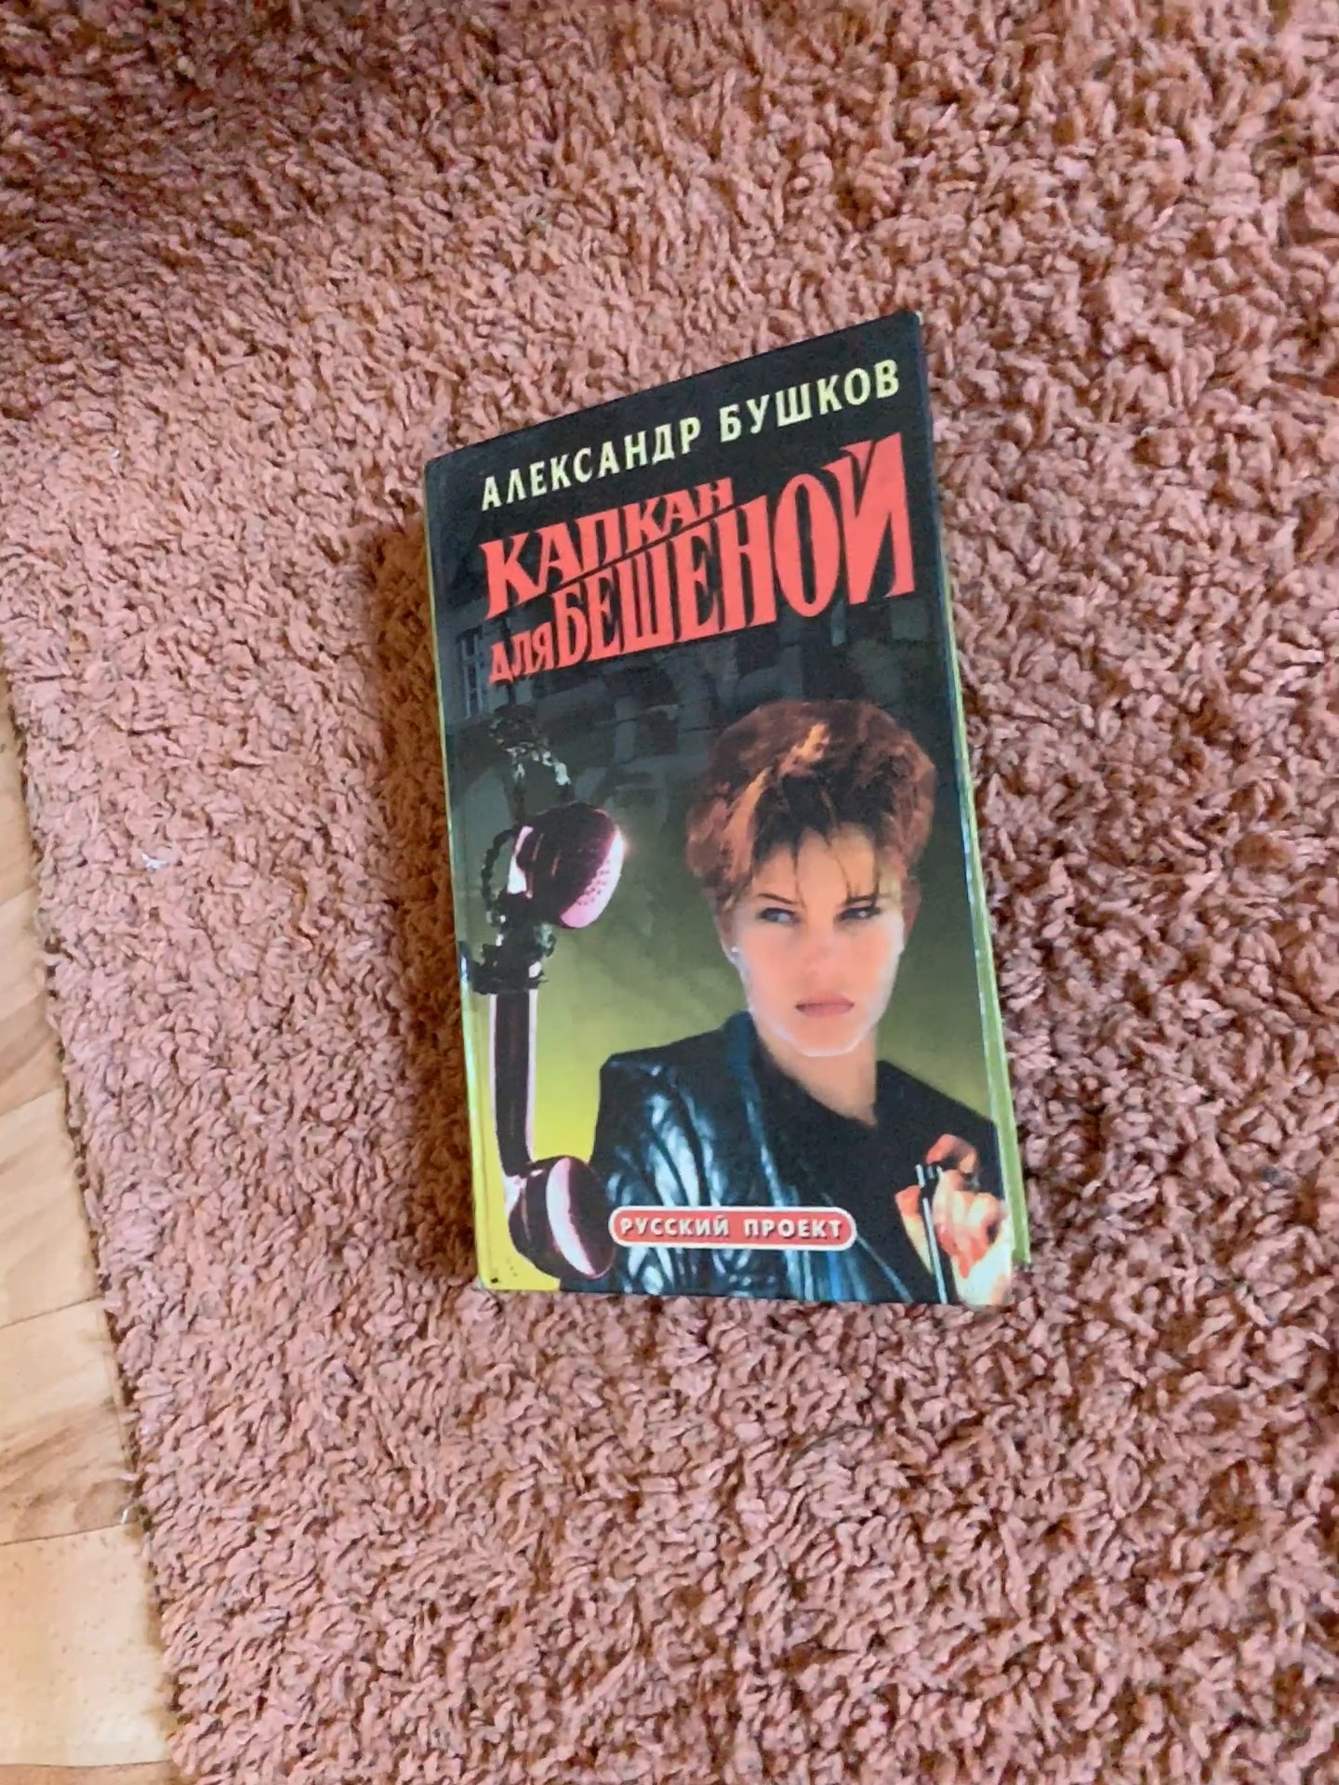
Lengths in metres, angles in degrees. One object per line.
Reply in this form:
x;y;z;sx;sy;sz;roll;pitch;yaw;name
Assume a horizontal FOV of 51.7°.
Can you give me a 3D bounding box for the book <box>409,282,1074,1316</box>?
0.010;-0.013;0.292;0.125;0.027;0.190;-7;86;28;book
